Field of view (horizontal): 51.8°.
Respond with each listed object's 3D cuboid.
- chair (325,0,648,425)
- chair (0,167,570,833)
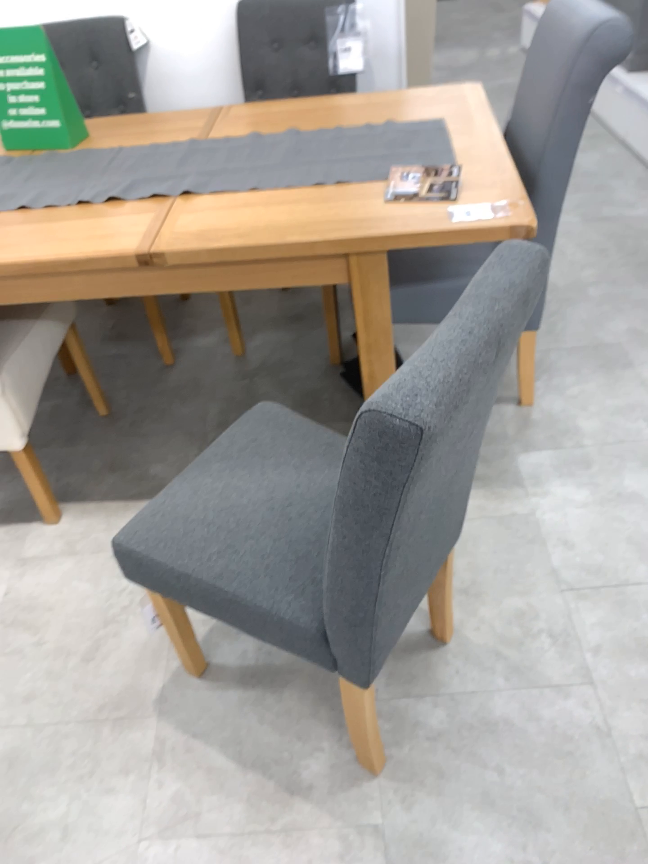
[{"bbox_3d":[0.361,-0.544,1.699,0.622,0.899,0.509,-4,42,4],"label":"chair"},{"bbox_3d":[-0.054,0.108,1.082,0.644,0.830,0.447,20,49,28],"label":"chair"}]
